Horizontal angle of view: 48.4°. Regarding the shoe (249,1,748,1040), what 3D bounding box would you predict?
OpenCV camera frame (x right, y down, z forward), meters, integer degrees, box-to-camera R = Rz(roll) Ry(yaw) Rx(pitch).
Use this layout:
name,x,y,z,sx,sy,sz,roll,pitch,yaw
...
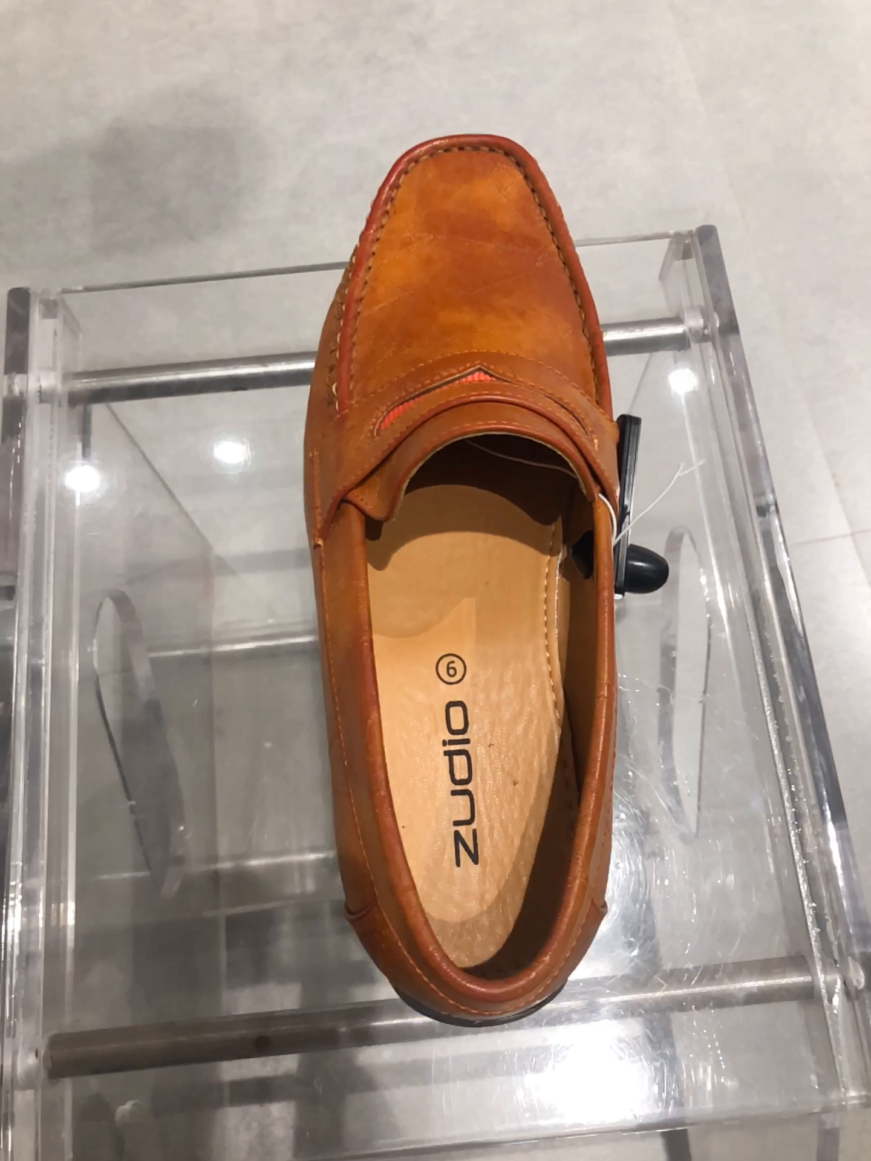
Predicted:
name,x,y,z,sx,sy,sz,roll,pitch,yaw
shoe,0.008,-0.026,0.301,0.110,0.090,0.291,-3,72,0
